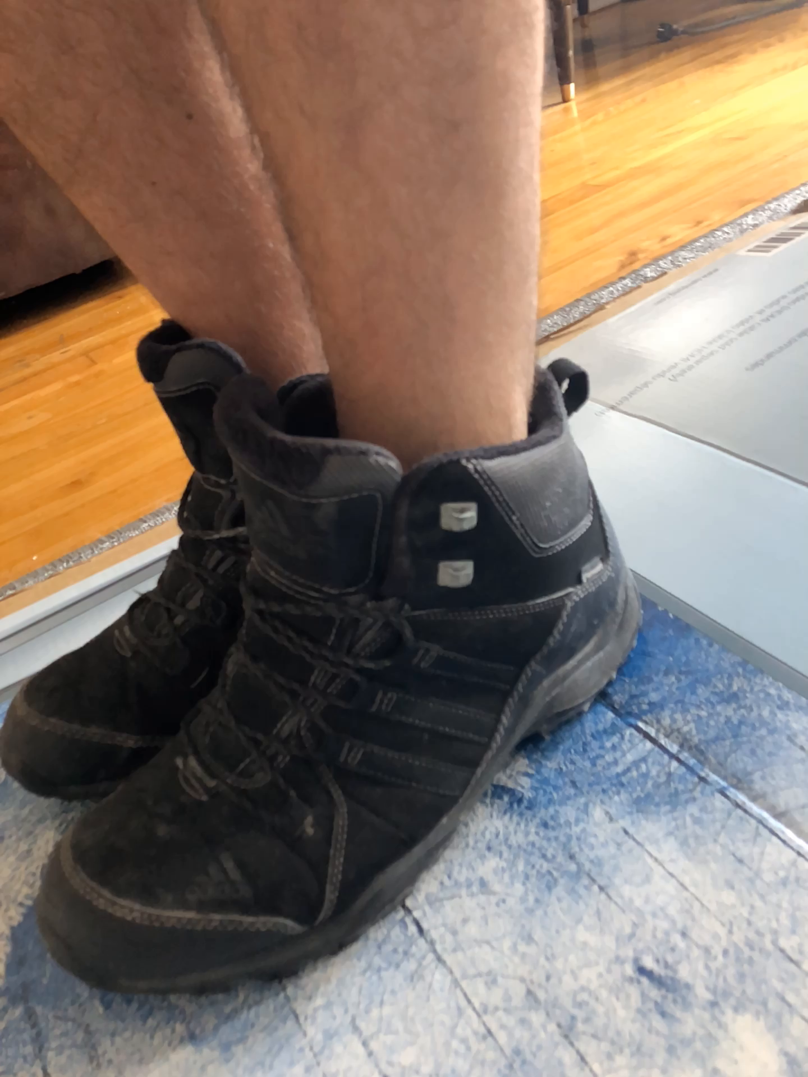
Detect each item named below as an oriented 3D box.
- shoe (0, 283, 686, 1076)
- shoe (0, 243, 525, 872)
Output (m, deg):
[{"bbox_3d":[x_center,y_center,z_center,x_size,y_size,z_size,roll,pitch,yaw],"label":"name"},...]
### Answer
[{"bbox_3d":[-0.028,0.040,0.346,0.281,0.169,0.111,-34,36,-25],"label":"shoe"},{"bbox_3d":[-0.090,-0.010,0.440,0.281,0.169,0.111,-34,36,-25],"label":"shoe"}]
